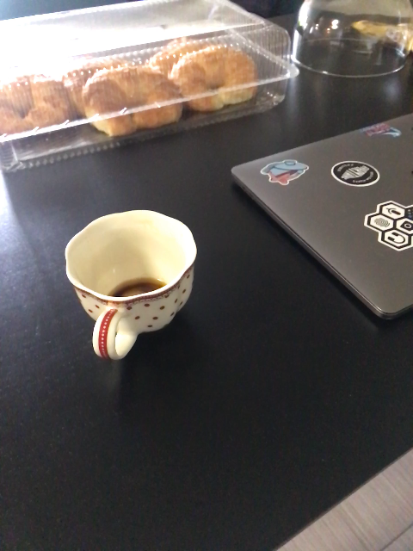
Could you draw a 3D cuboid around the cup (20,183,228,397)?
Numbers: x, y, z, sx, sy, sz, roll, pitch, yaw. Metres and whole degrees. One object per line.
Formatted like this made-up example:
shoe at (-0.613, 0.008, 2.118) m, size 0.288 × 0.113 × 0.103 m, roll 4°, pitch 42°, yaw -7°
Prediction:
cup at (-0.047, 0.004, 0.321) m, size 0.090 × 0.069 × 0.121 m, roll 14°, pitch 46°, yaw 15°
